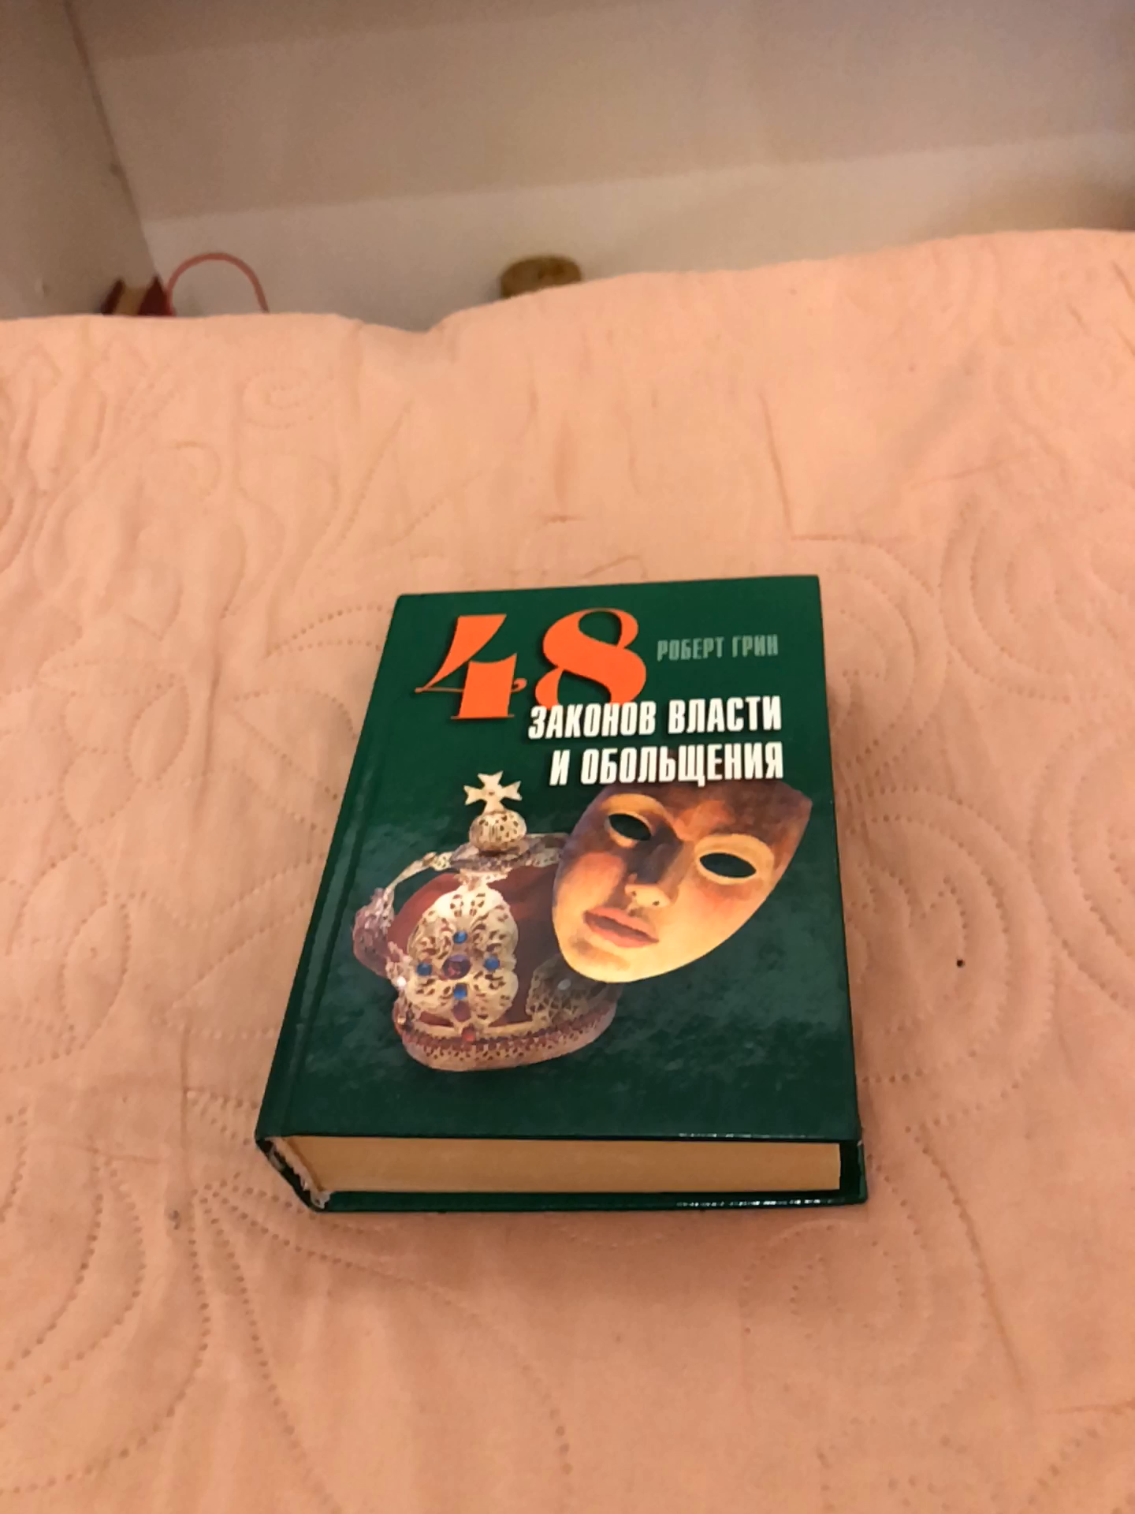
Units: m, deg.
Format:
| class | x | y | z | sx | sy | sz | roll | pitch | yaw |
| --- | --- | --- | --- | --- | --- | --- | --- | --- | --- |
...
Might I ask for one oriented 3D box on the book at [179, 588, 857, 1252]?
| class | x | y | z | sx | sy | sz | roll | pitch | yaw |
| --- | --- | --- | --- | --- | --- | --- | --- | --- | --- |
| book | -0.003 | 0.023 | 0.262 | 0.110 | 0.032 | 0.143 | 0 | 46 | 6 |
